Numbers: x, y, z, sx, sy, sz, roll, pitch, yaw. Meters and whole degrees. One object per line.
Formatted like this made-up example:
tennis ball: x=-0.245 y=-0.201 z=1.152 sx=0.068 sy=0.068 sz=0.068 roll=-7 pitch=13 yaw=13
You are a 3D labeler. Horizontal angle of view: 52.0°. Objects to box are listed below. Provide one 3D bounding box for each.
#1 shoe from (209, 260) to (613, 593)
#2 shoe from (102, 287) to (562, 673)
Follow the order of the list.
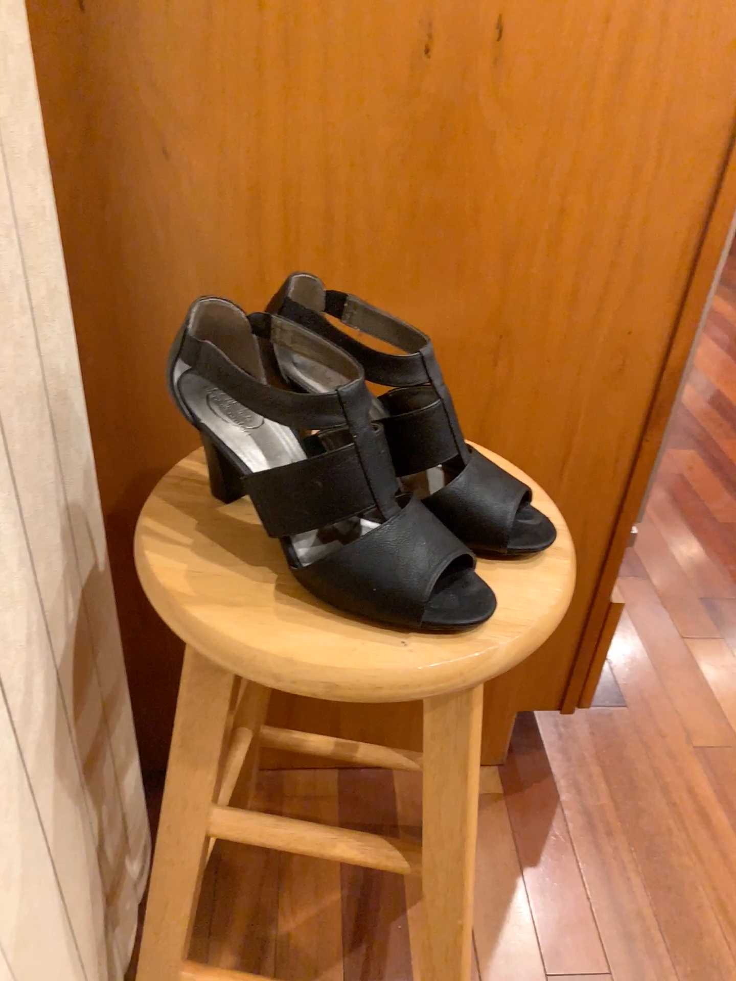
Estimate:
shoe: x=0.020 y=-0.053 z=0.506 sx=0.234 sy=0.130 sz=0.100 roll=21 pitch=37 yaw=23
shoe: x=-0.030 y=-0.019 z=0.446 sx=0.244 sy=0.125 sz=0.090 roll=23 pitch=38 yaw=25
